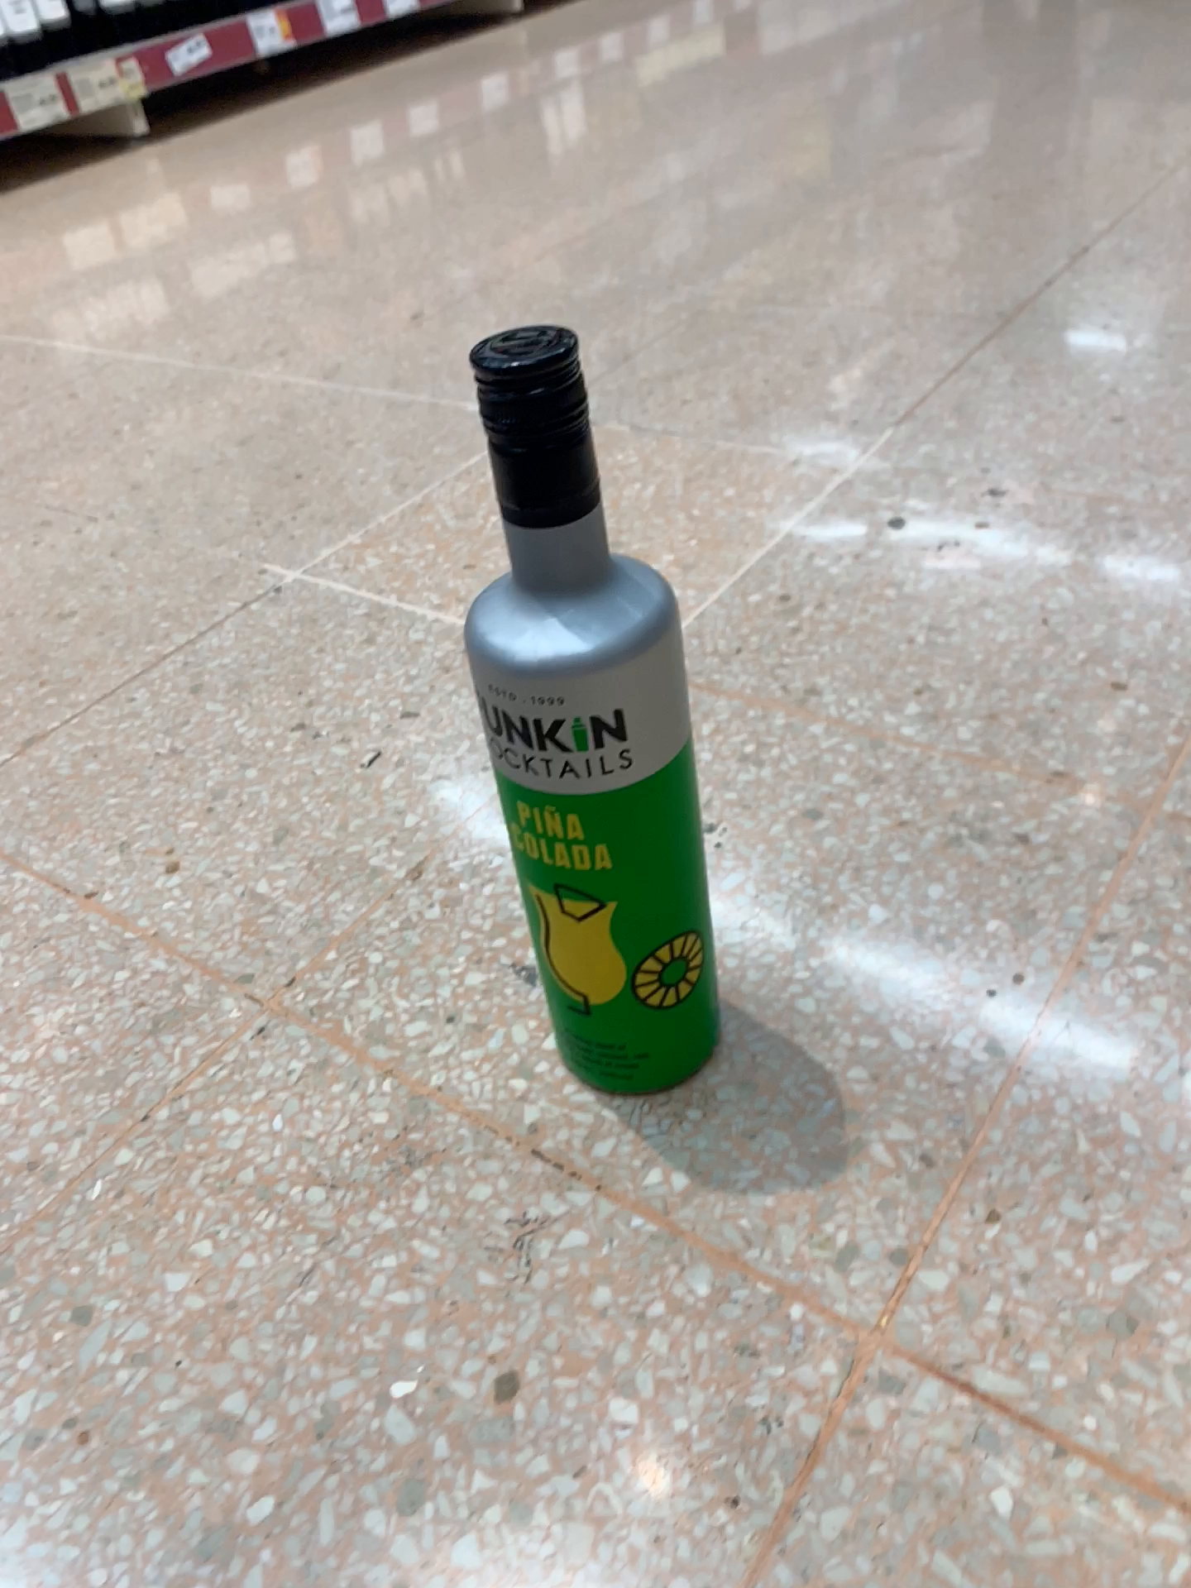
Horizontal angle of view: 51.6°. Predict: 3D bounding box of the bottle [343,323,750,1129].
[{"bbox_3d":[-0.003,-0.008,0.434,0.074,0.284,0.067,-6,38,5],"label":"bottle"}]
